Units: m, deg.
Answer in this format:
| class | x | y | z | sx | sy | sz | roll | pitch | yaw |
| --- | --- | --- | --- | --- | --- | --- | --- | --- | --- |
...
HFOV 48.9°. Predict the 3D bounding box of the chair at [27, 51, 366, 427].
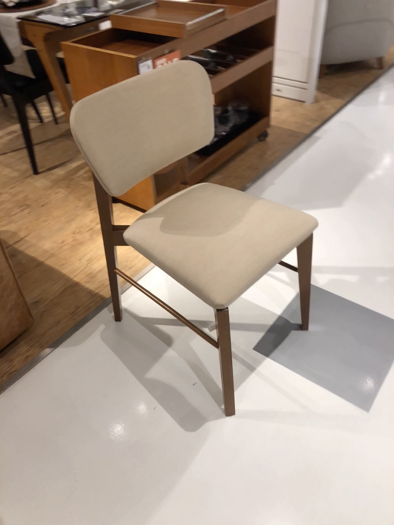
| class | x | y | z | sx | sy | sz | roll | pitch | yaw |
| --- | --- | --- | --- | --- | --- | --- | --- | --- | --- |
| chair | 0.011 | -0.086 | 1.245 | 0.592 | 0.764 | 0.512 | 30 | 51 | 32 |
